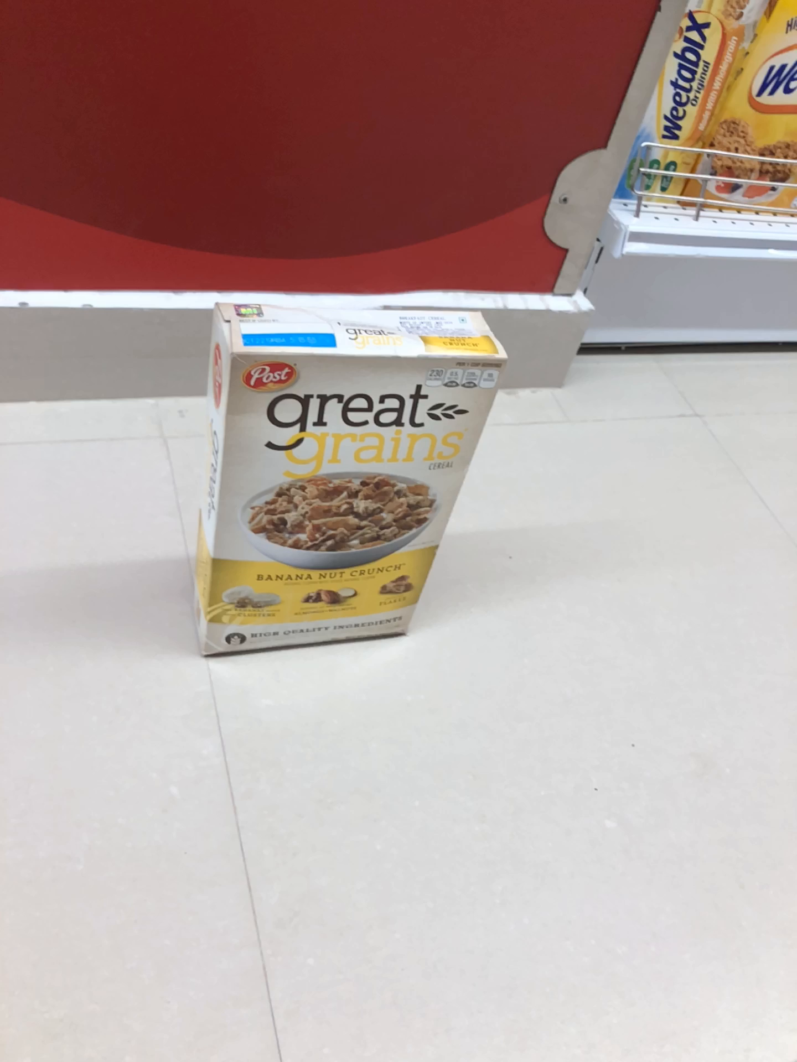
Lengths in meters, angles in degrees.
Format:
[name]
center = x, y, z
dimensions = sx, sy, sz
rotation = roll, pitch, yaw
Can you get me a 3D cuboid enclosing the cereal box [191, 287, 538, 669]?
[cereal box]
center = -0.037, -0.021, 0.557
dimensions = 0.160, 0.258, 0.060
rotation = -4, 48, -22
